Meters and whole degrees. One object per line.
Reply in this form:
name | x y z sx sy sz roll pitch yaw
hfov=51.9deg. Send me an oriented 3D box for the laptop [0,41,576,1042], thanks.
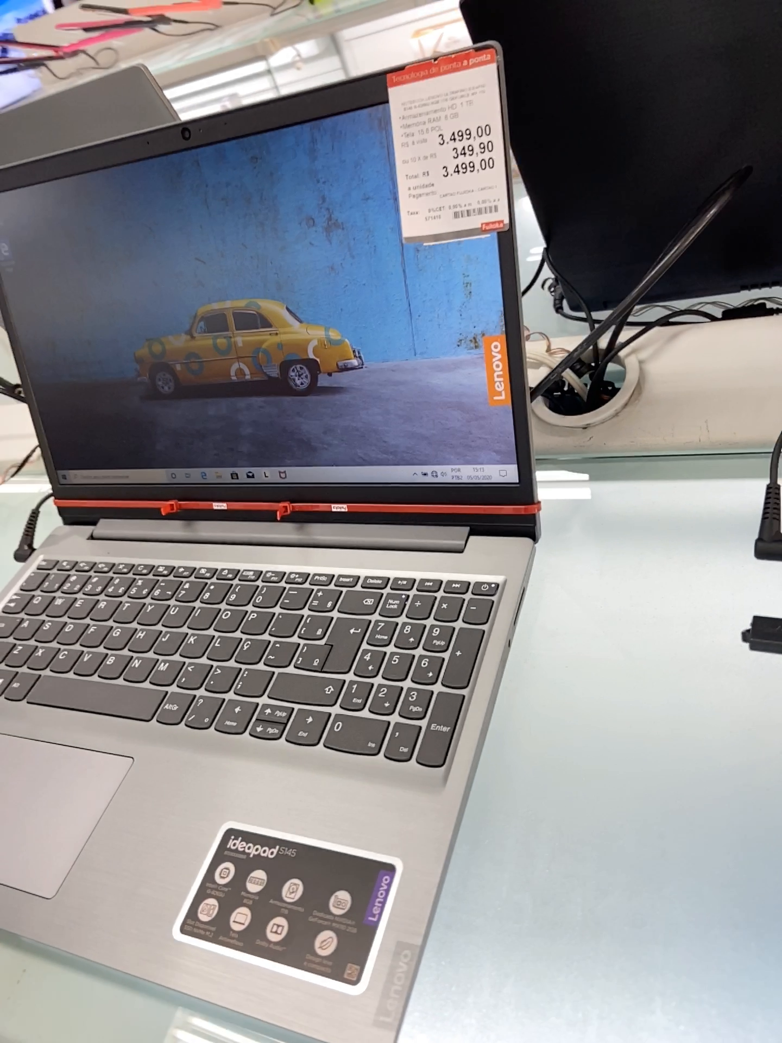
laptop | -0.141 -0.019 0.402 0.364 0.215 0.353 0 45 27
